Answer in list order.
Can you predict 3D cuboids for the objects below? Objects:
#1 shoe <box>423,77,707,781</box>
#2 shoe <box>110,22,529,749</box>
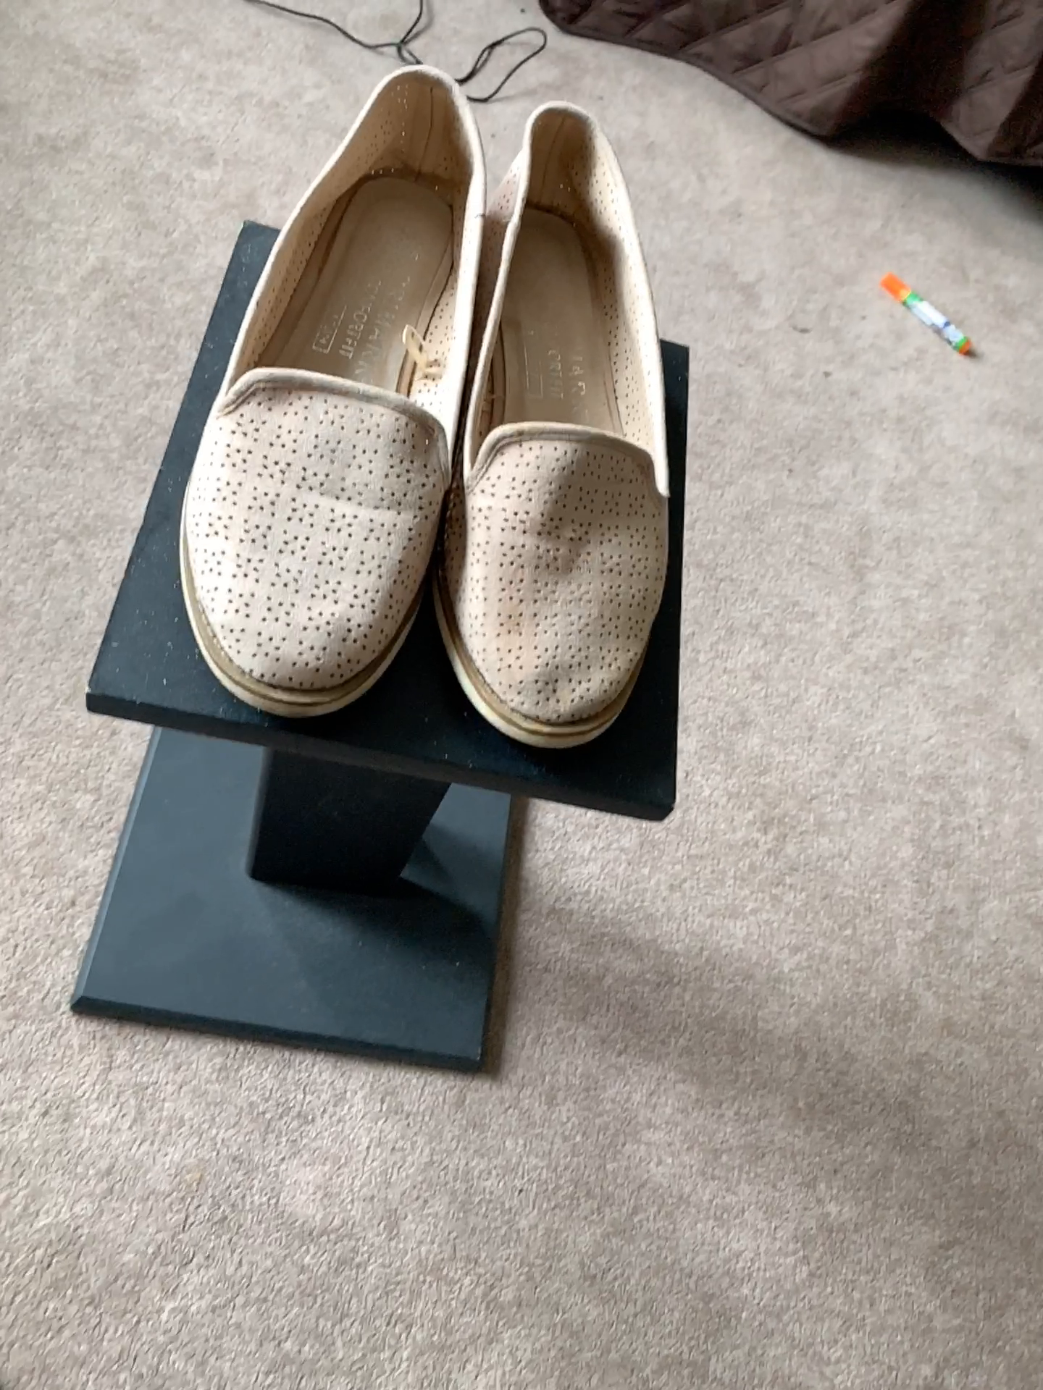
[{"bbox_3d":[0.016,-0.101,0.416,0.080,0.080,0.251,6,72,-14],"label":"shoe"},{"bbox_3d":[-0.067,-0.117,0.400,0.080,0.080,0.251,15,68,-9],"label":"shoe"}]
